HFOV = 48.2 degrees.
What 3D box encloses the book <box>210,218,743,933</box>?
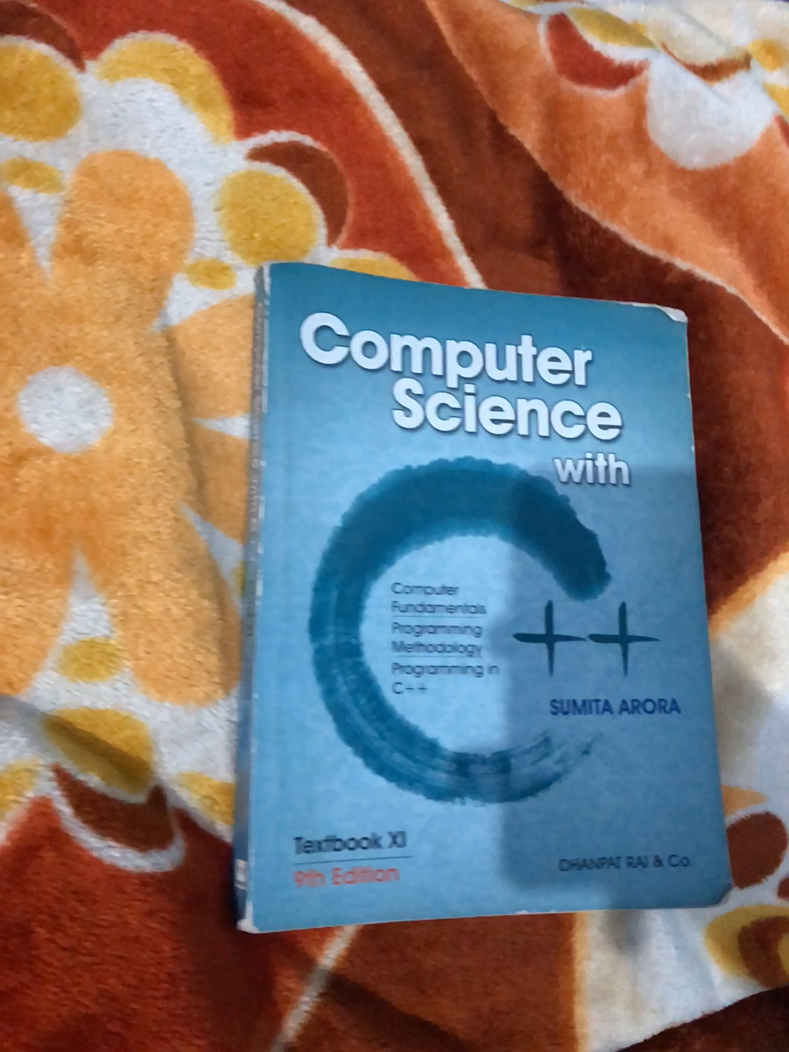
[{"bbox_3d":[0.036,0.018,0.376,0.210,0.040,0.270,3,79,-15],"label":"book"}]
